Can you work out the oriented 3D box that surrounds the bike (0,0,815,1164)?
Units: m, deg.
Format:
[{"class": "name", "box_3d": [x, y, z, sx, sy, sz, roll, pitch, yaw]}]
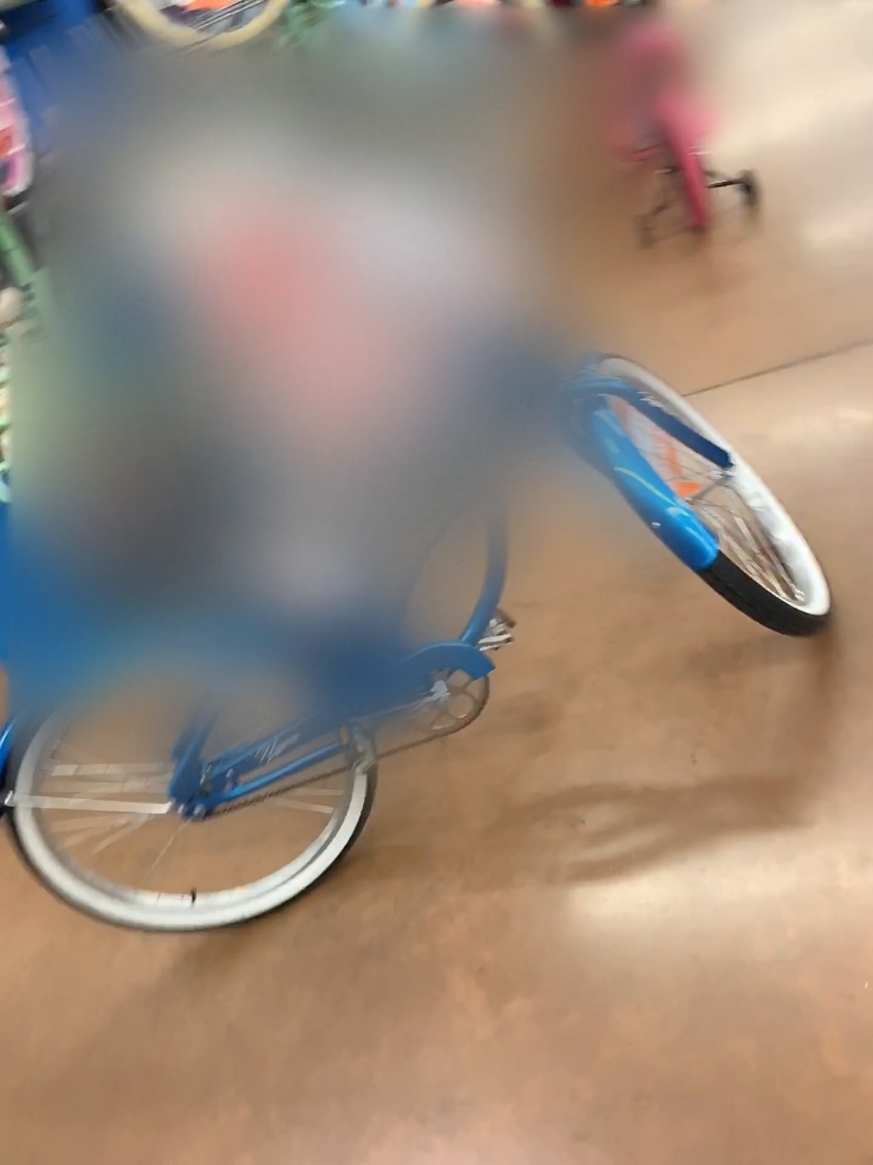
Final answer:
[{"class": "bike", "box_3d": [-0.244, -0.140, 1.595, 1.528, 1.206, 0.879, -36, 37, -9]}]
